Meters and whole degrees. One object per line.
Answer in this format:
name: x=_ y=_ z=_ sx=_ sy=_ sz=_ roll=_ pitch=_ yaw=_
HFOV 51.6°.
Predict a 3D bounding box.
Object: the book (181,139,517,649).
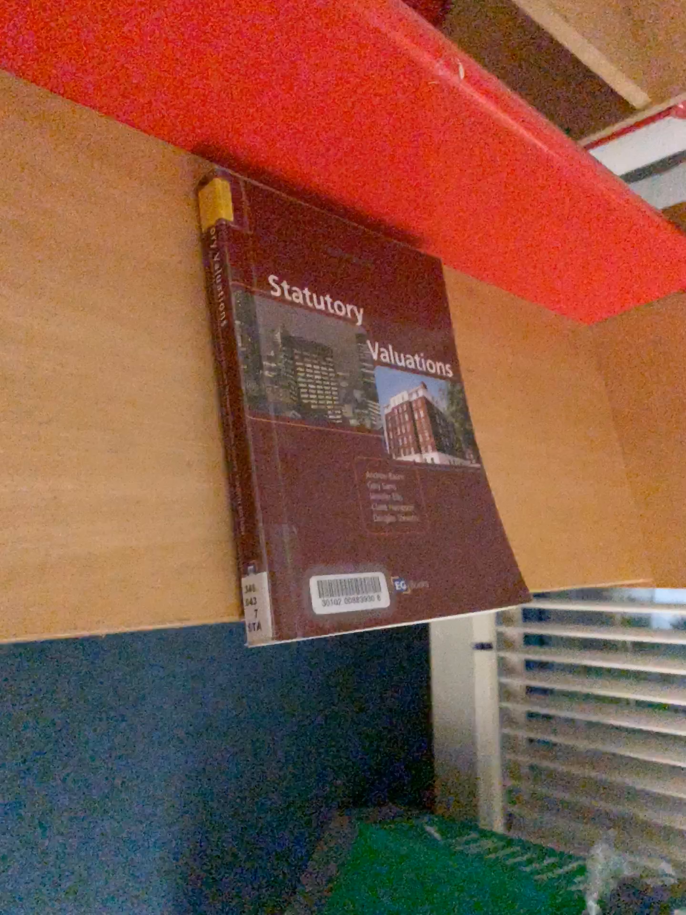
book: x=0.009 y=-0.032 z=0.405 sx=0.190 sy=0.027 sz=0.252 roll=6 pitch=68 yaw=-44
